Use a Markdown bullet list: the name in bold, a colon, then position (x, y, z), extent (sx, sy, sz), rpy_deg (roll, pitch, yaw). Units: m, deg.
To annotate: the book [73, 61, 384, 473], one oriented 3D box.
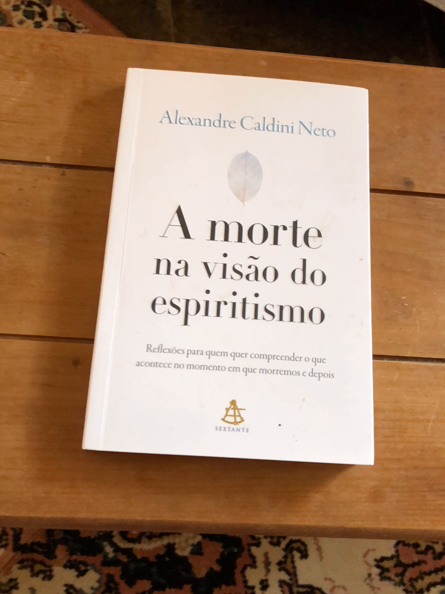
- **book**: position (0.009, -0.021, 0.247), extent (0.135, 0.020, 0.196), rpy_deg (4, 77, -2)
